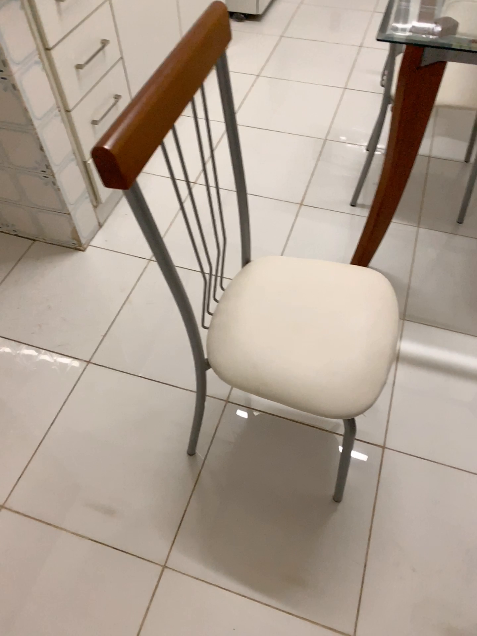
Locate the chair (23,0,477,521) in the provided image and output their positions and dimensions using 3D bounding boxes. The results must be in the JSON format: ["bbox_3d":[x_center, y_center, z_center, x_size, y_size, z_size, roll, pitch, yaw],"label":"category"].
[{"bbox_3d":[0.087,-0.029,0.983,0.510,0.886,0.482,14,55,12],"label":"chair"}]
